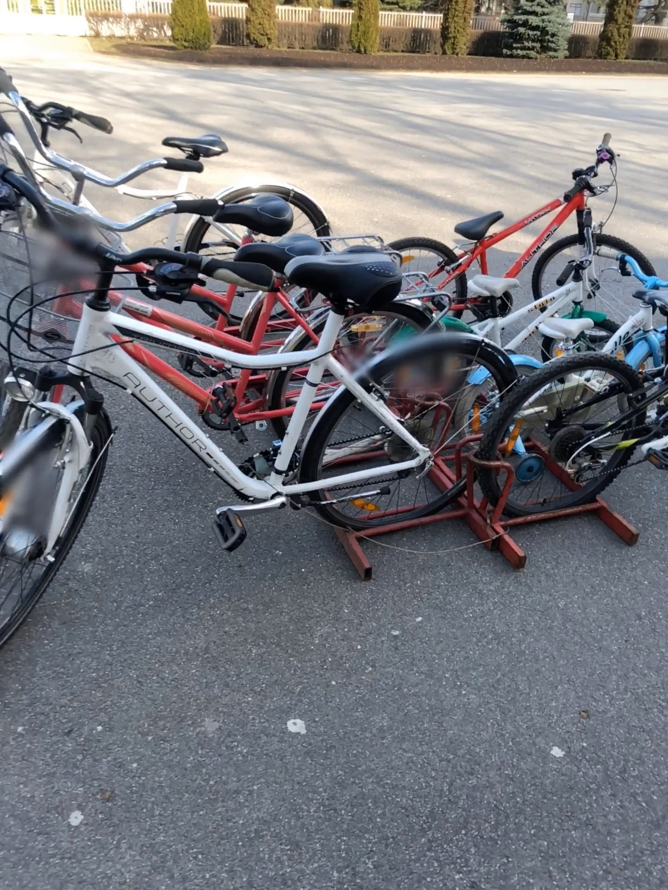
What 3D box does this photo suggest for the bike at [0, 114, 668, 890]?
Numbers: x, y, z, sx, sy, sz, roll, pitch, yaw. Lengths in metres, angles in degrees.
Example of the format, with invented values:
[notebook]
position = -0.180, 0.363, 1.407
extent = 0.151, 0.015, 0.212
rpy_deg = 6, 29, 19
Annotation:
[bike]
position = -0.077, -0.057, 1.631
extent = 1.603, 1.163, 0.621
rpy_deg = -18, 36, -32
